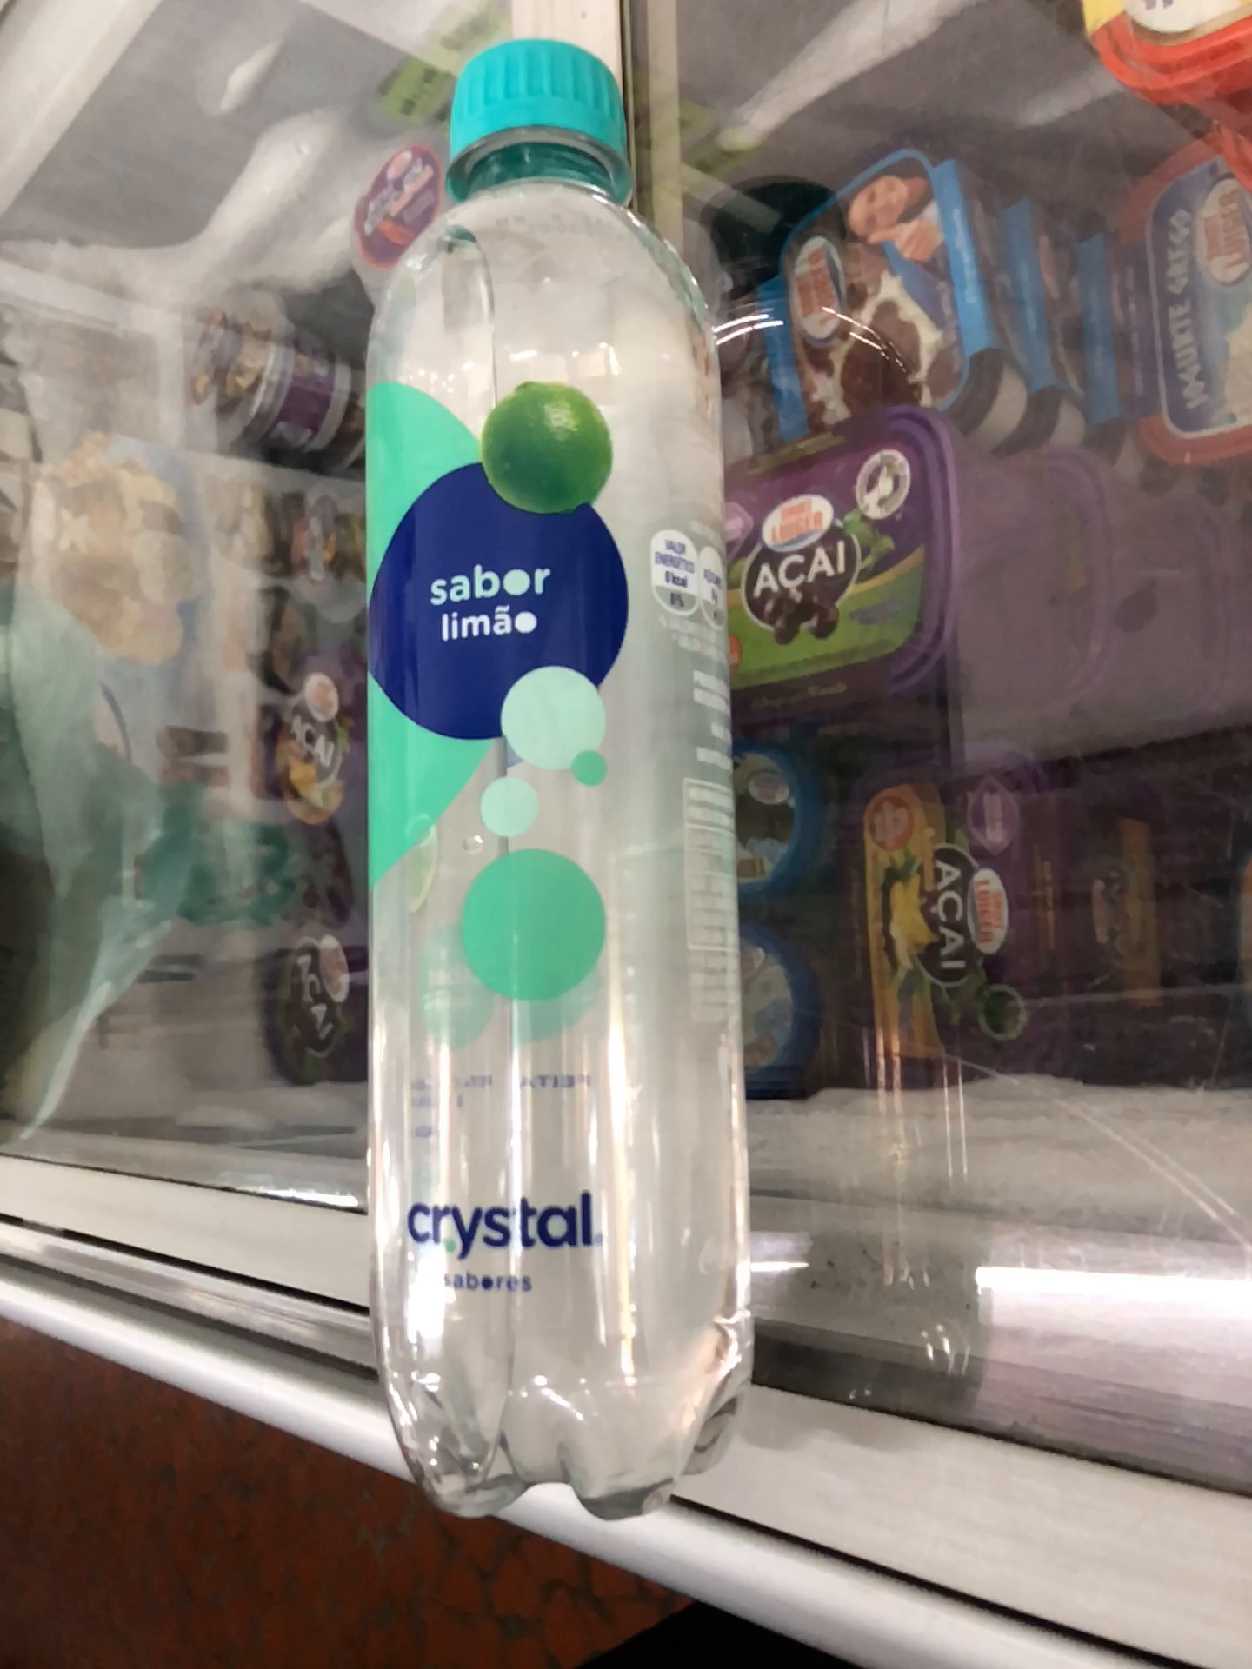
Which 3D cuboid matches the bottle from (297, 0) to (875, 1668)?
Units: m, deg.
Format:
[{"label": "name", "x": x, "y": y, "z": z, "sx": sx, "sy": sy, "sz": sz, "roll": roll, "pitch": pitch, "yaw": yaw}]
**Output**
[{"label": "bottle", "x": -0.001, "y": 0.006, "z": 0.219, "sx": 0.070, "sy": 0.070, "sz": 0.240, "roll": -1, "pitch": 90, "yaw": 15}]
